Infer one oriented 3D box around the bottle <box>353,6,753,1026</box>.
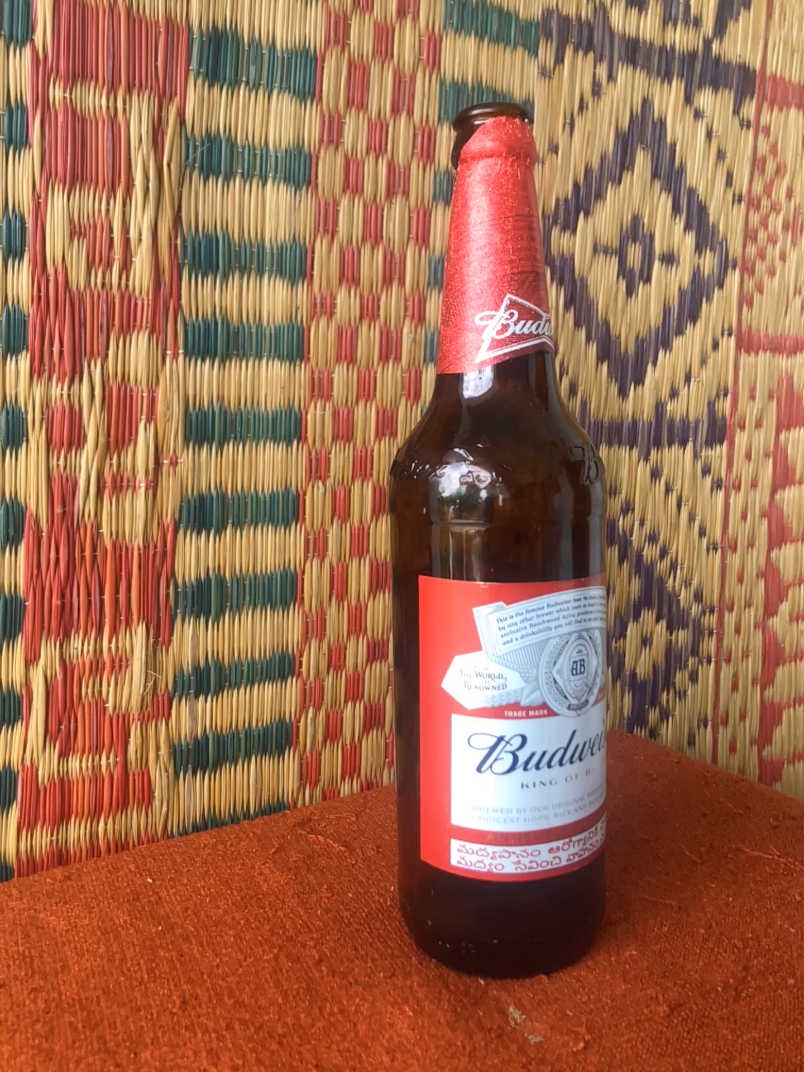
[{"bbox_3d":[0.042,-0.003,0.279,0.090,0.259,0.070,-4,9,-33],"label":"bottle"}]
